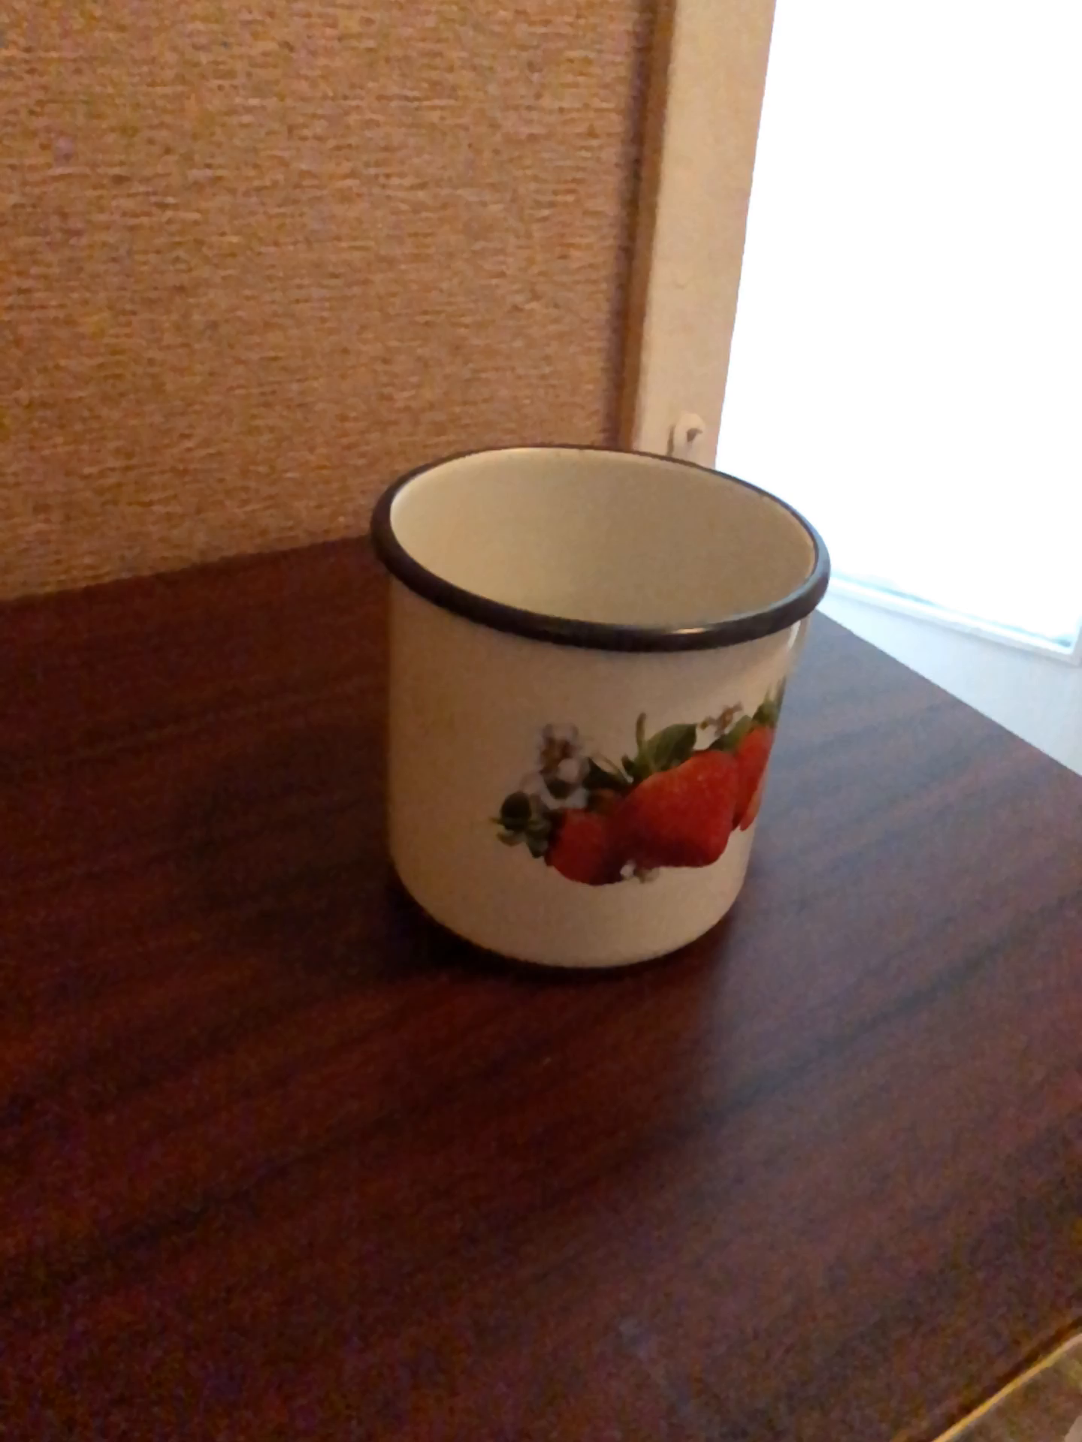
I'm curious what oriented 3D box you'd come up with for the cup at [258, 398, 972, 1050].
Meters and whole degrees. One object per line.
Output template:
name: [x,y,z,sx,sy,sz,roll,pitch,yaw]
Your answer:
cup: [0.018,-0.013,0.354,0.156,0.113,0.119,-19,38,-32]
